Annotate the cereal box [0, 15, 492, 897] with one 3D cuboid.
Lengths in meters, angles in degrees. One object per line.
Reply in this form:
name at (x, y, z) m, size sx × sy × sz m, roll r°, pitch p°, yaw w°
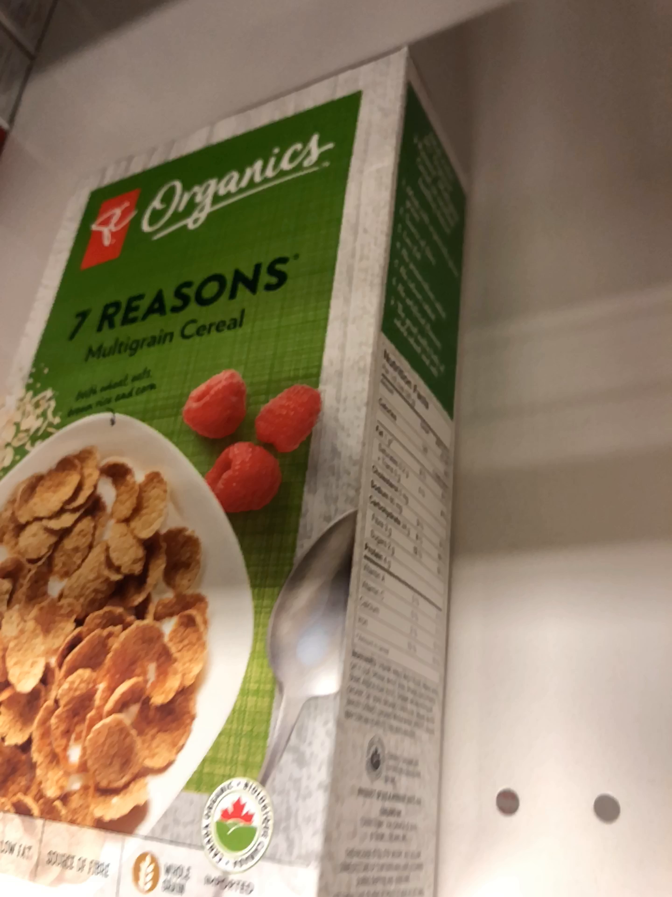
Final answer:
cereal box at (-0.051, 0.001, 0.251) m, size 0.181 × 0.060 × 0.260 m, roll -7°, pitch 61°, yaw 29°
